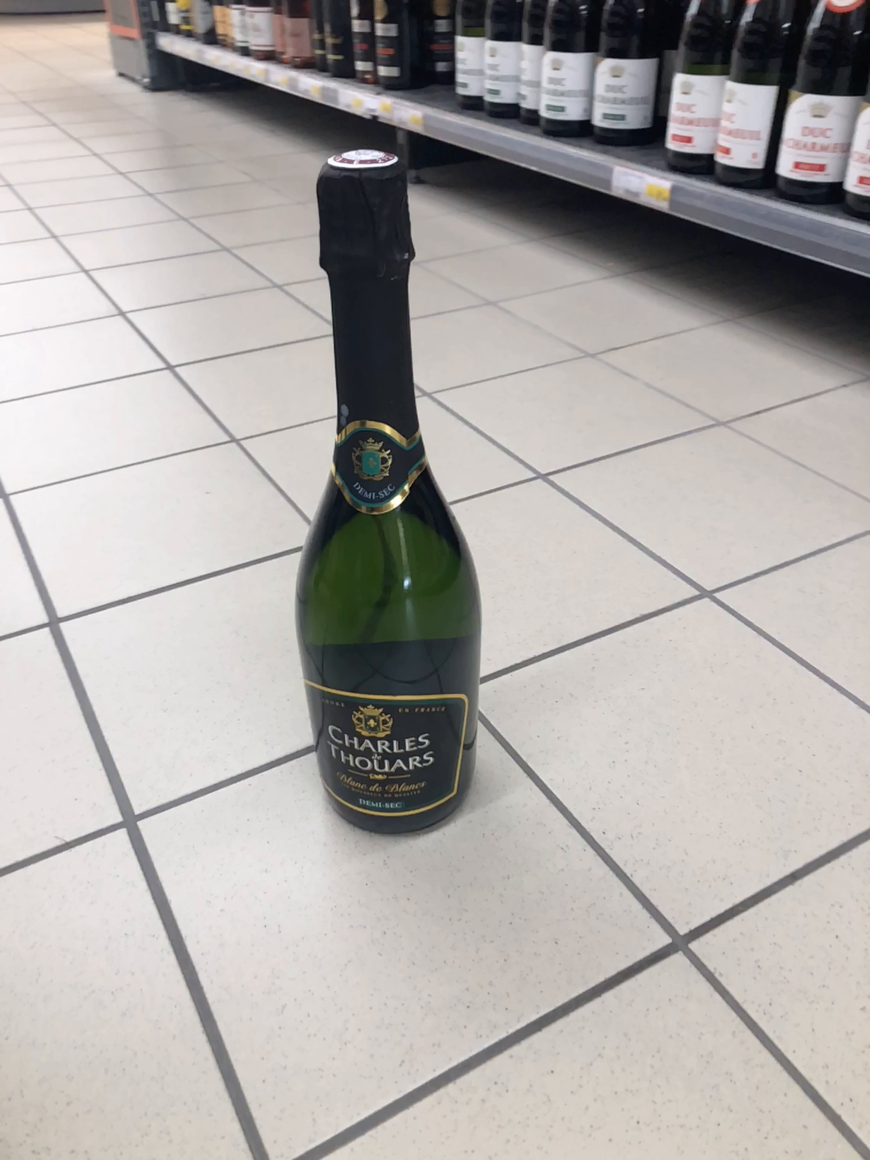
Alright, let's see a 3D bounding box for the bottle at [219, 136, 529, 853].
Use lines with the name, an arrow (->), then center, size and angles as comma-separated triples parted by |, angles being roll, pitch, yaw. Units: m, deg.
bottle -> -0.016, -0.025, 0.434 | 0.090, 0.308, 0.091 | -1, 33, 0
